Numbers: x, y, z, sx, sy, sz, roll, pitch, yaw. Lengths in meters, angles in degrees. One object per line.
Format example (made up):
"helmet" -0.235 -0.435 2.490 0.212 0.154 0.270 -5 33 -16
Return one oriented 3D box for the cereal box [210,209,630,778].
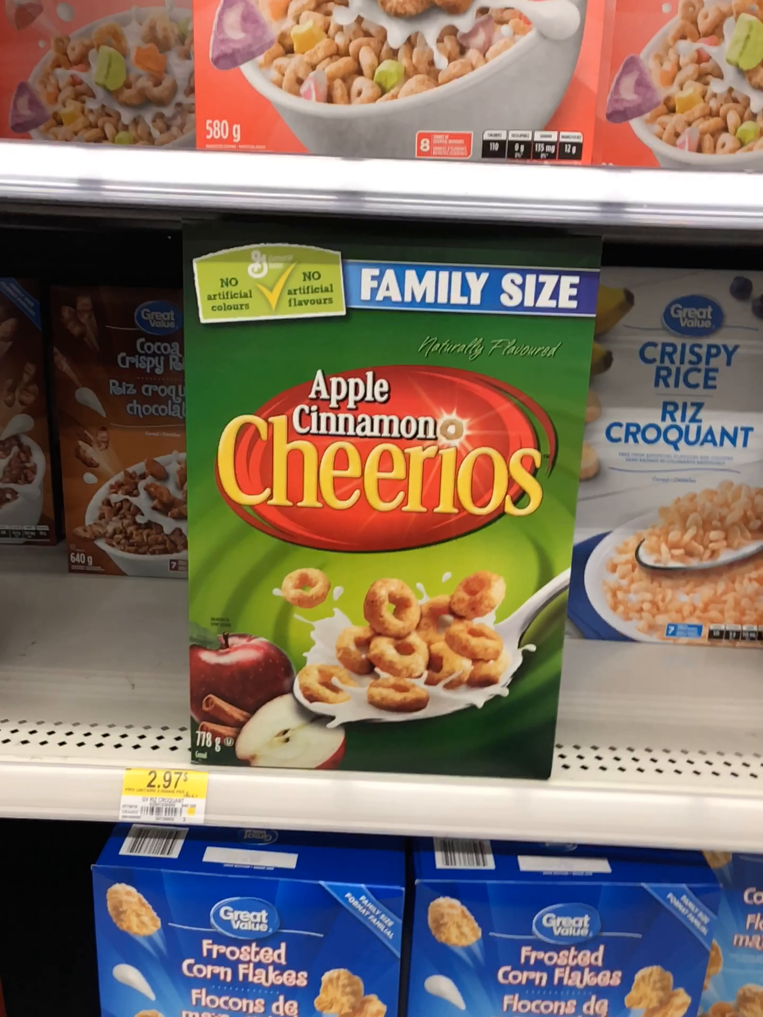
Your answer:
"cereal box" 0.016 -0.006 0.568 0.240 0.358 0.090 2 15 -1
